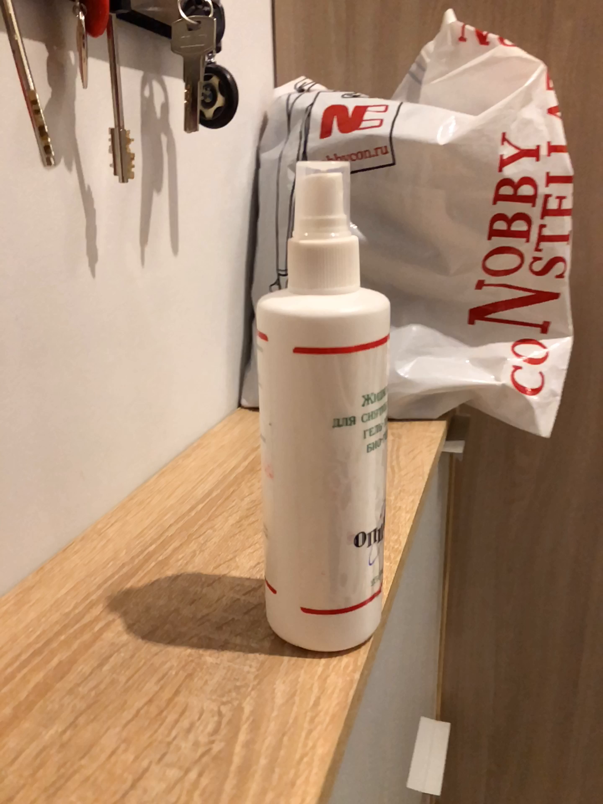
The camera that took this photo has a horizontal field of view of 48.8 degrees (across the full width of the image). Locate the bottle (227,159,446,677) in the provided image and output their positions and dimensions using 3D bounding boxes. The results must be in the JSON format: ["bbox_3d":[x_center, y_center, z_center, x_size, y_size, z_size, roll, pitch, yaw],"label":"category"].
[{"bbox_3d":[0.016,0.004,0.257,0.059,0.183,0.056,-1,18,0],"label":"bottle"}]
